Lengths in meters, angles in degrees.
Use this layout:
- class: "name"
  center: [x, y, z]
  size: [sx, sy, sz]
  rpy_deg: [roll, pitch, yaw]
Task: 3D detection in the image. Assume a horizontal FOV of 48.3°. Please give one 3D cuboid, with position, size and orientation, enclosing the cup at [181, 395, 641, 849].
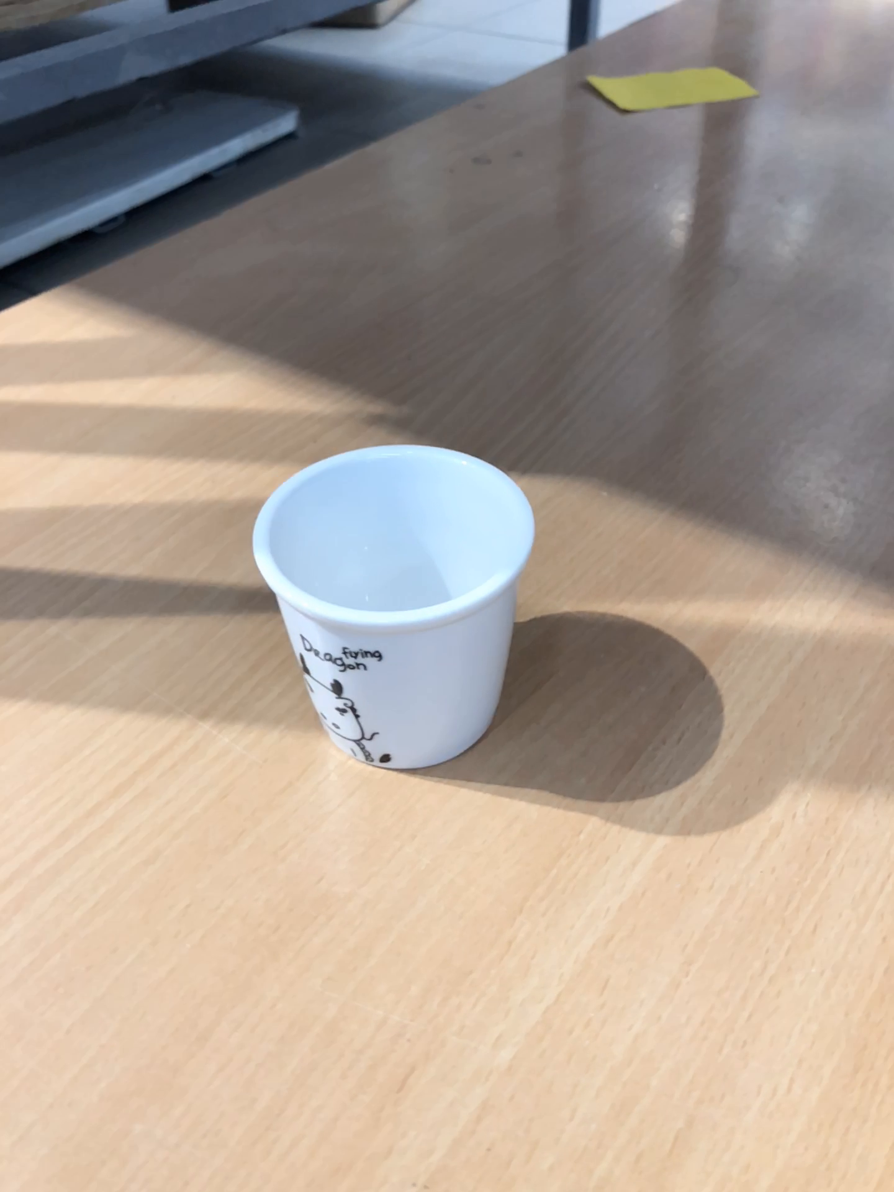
- class: "cup"
  center: [-0.007, 0.002, 0.265]
  size: [0.080, 0.060, 0.080]
  rpy_deg: [-1, 41, 1]
